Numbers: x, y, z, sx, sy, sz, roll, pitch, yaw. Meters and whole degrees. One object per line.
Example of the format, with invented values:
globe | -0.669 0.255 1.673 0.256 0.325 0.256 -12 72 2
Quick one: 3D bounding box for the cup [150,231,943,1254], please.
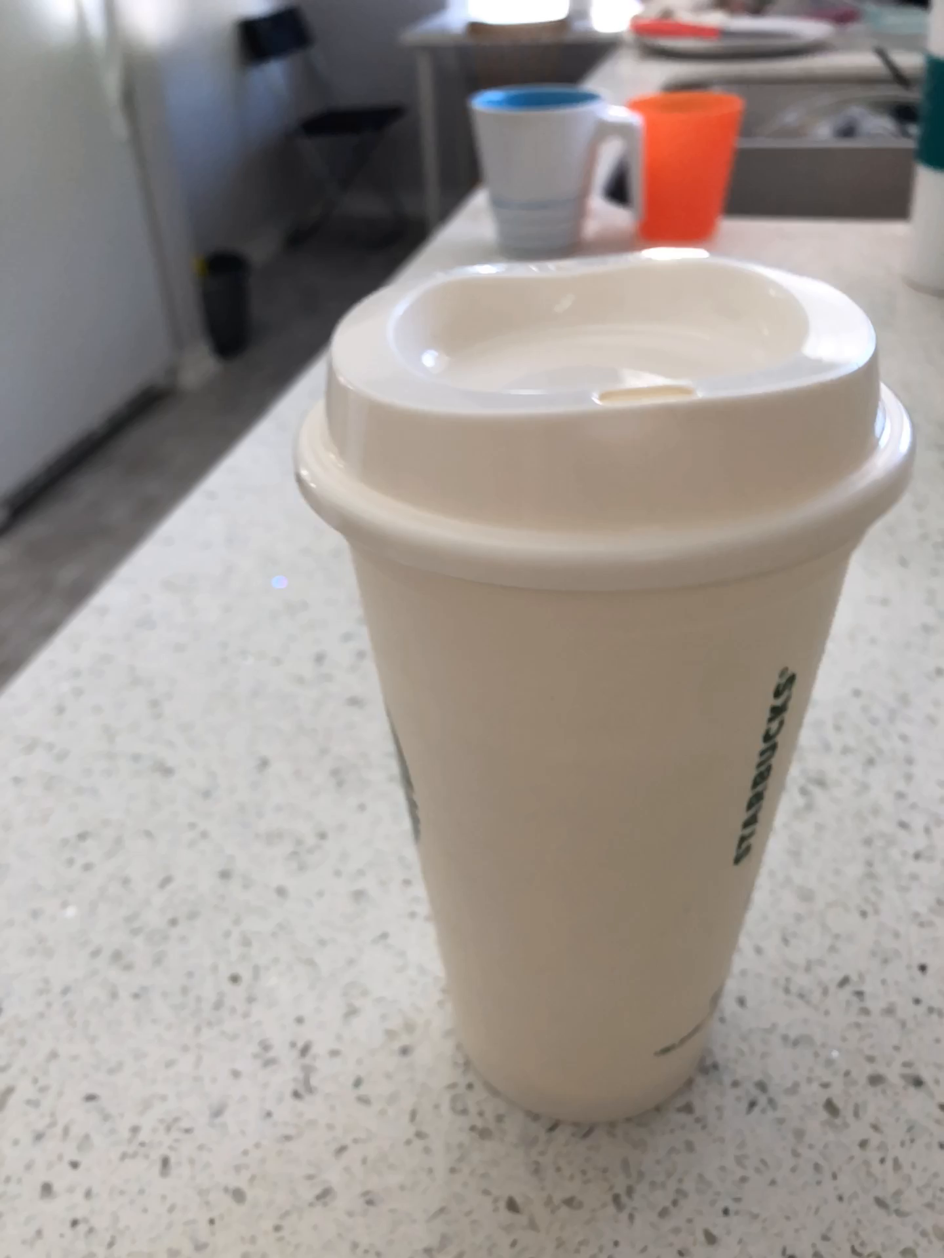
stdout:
cup | 0.022 0.015 0.190 0.090 0.139 0.090 -2 34 2
